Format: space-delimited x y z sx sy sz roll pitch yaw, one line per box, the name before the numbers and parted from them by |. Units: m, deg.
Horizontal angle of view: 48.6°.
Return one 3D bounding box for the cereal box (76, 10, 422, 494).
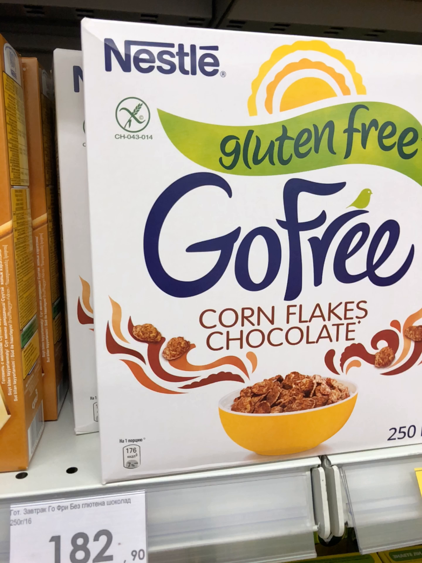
cereal box | 0.038 -0.011 0.253 0.200 0.219 0.050 -1 10 -10
